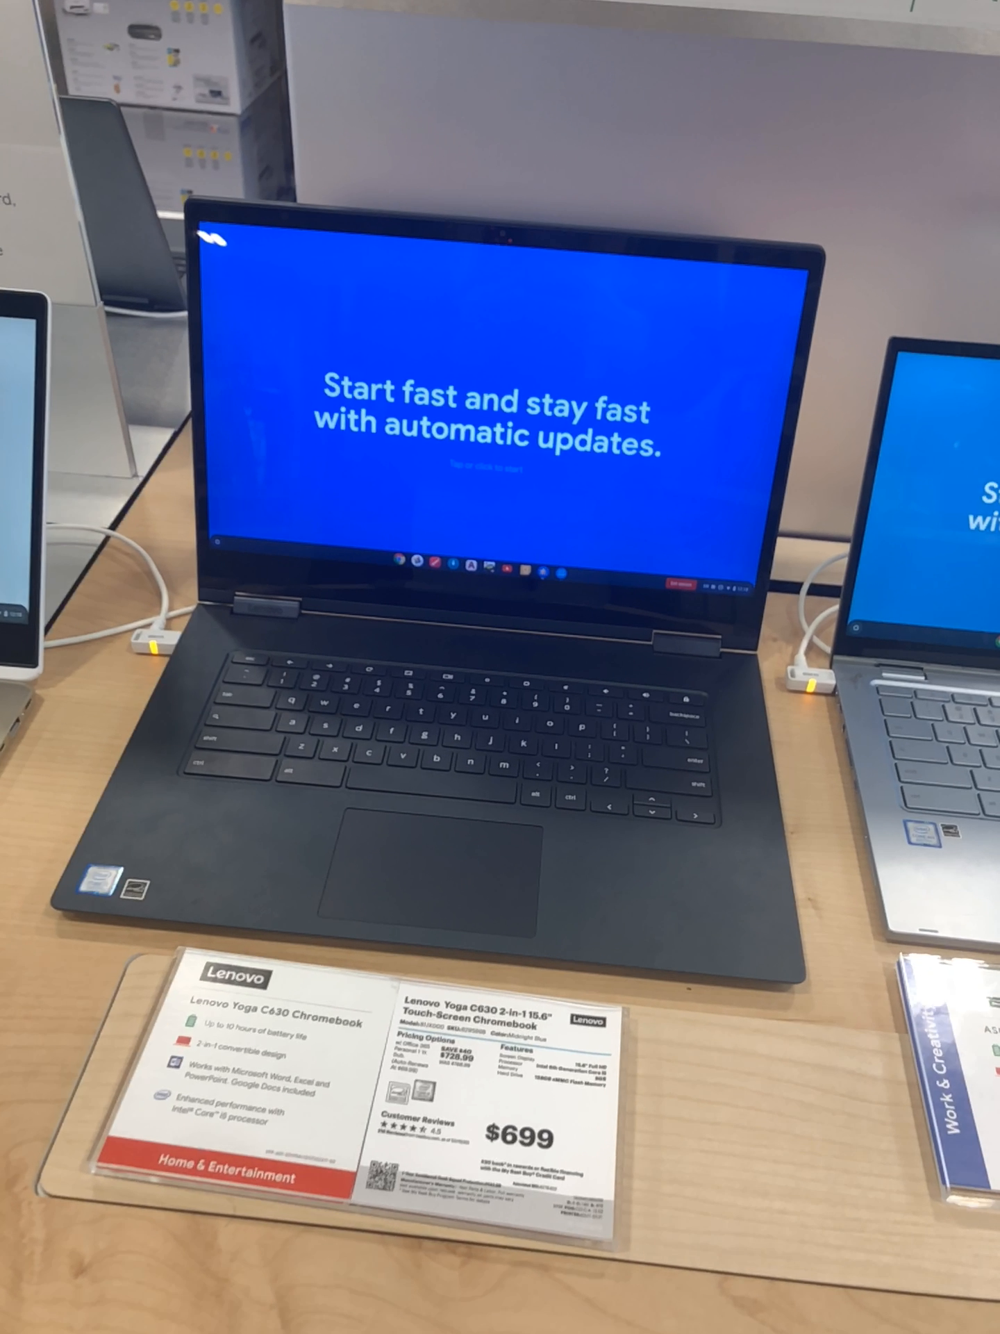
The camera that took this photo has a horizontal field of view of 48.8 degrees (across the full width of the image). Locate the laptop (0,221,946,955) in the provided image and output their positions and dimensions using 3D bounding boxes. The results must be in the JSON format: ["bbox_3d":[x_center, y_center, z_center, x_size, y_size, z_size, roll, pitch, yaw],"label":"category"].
[{"bbox_3d":[-0.013,-0.057,0.558,0.343,0.230,0.293,5,38,3],"label":"laptop"}]
